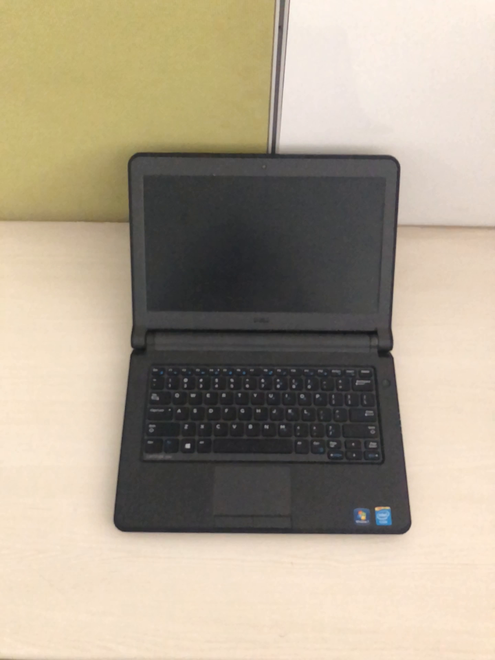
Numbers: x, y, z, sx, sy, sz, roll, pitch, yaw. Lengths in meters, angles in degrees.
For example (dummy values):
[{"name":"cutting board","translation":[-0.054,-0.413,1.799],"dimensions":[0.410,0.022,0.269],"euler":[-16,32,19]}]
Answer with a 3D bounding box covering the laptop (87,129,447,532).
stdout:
[{"name":"laptop","translation":[0.018,-0.006,0.611],"dimensions":[0.316,0.123,0.416],"euler":[1,68,-1]}]
